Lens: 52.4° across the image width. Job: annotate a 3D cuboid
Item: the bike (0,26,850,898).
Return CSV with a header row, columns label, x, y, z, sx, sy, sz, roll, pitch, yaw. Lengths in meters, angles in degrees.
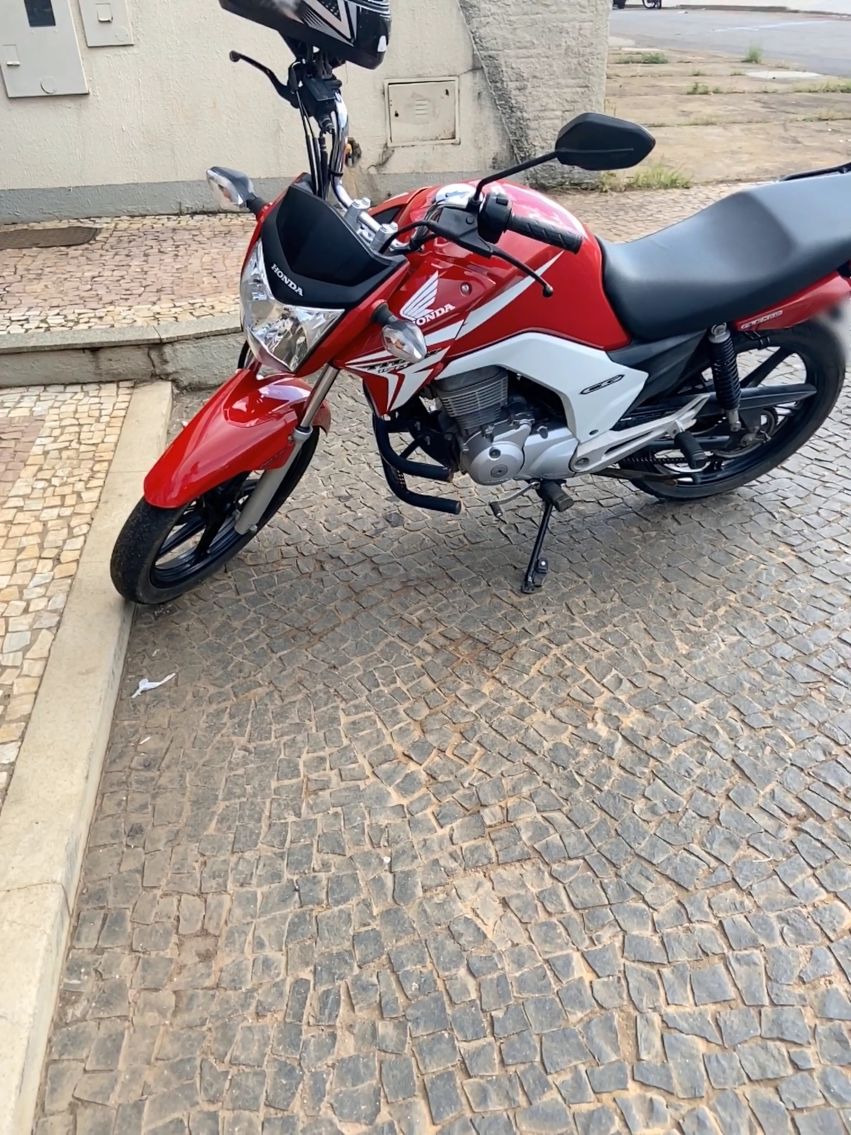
label,x,y,z,sx,sy,sz,roll,pitch,yaw
bike,0.319,-0.411,2.022,2.073,1.382,0.813,-17,35,-22
